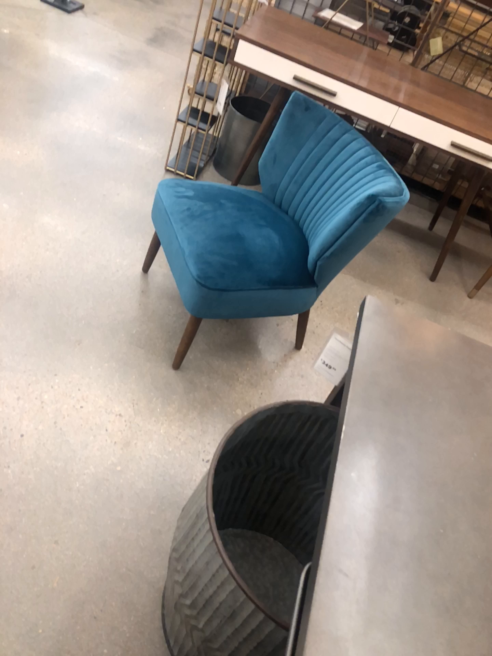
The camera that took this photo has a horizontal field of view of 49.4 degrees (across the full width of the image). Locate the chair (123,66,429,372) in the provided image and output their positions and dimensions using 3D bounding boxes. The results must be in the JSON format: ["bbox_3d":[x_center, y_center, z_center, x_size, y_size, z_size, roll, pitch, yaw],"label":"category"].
[{"bbox_3d":[0.021,-0.351,1.811,0.661,0.676,0.662,-3,48,-26],"label":"chair"}]
